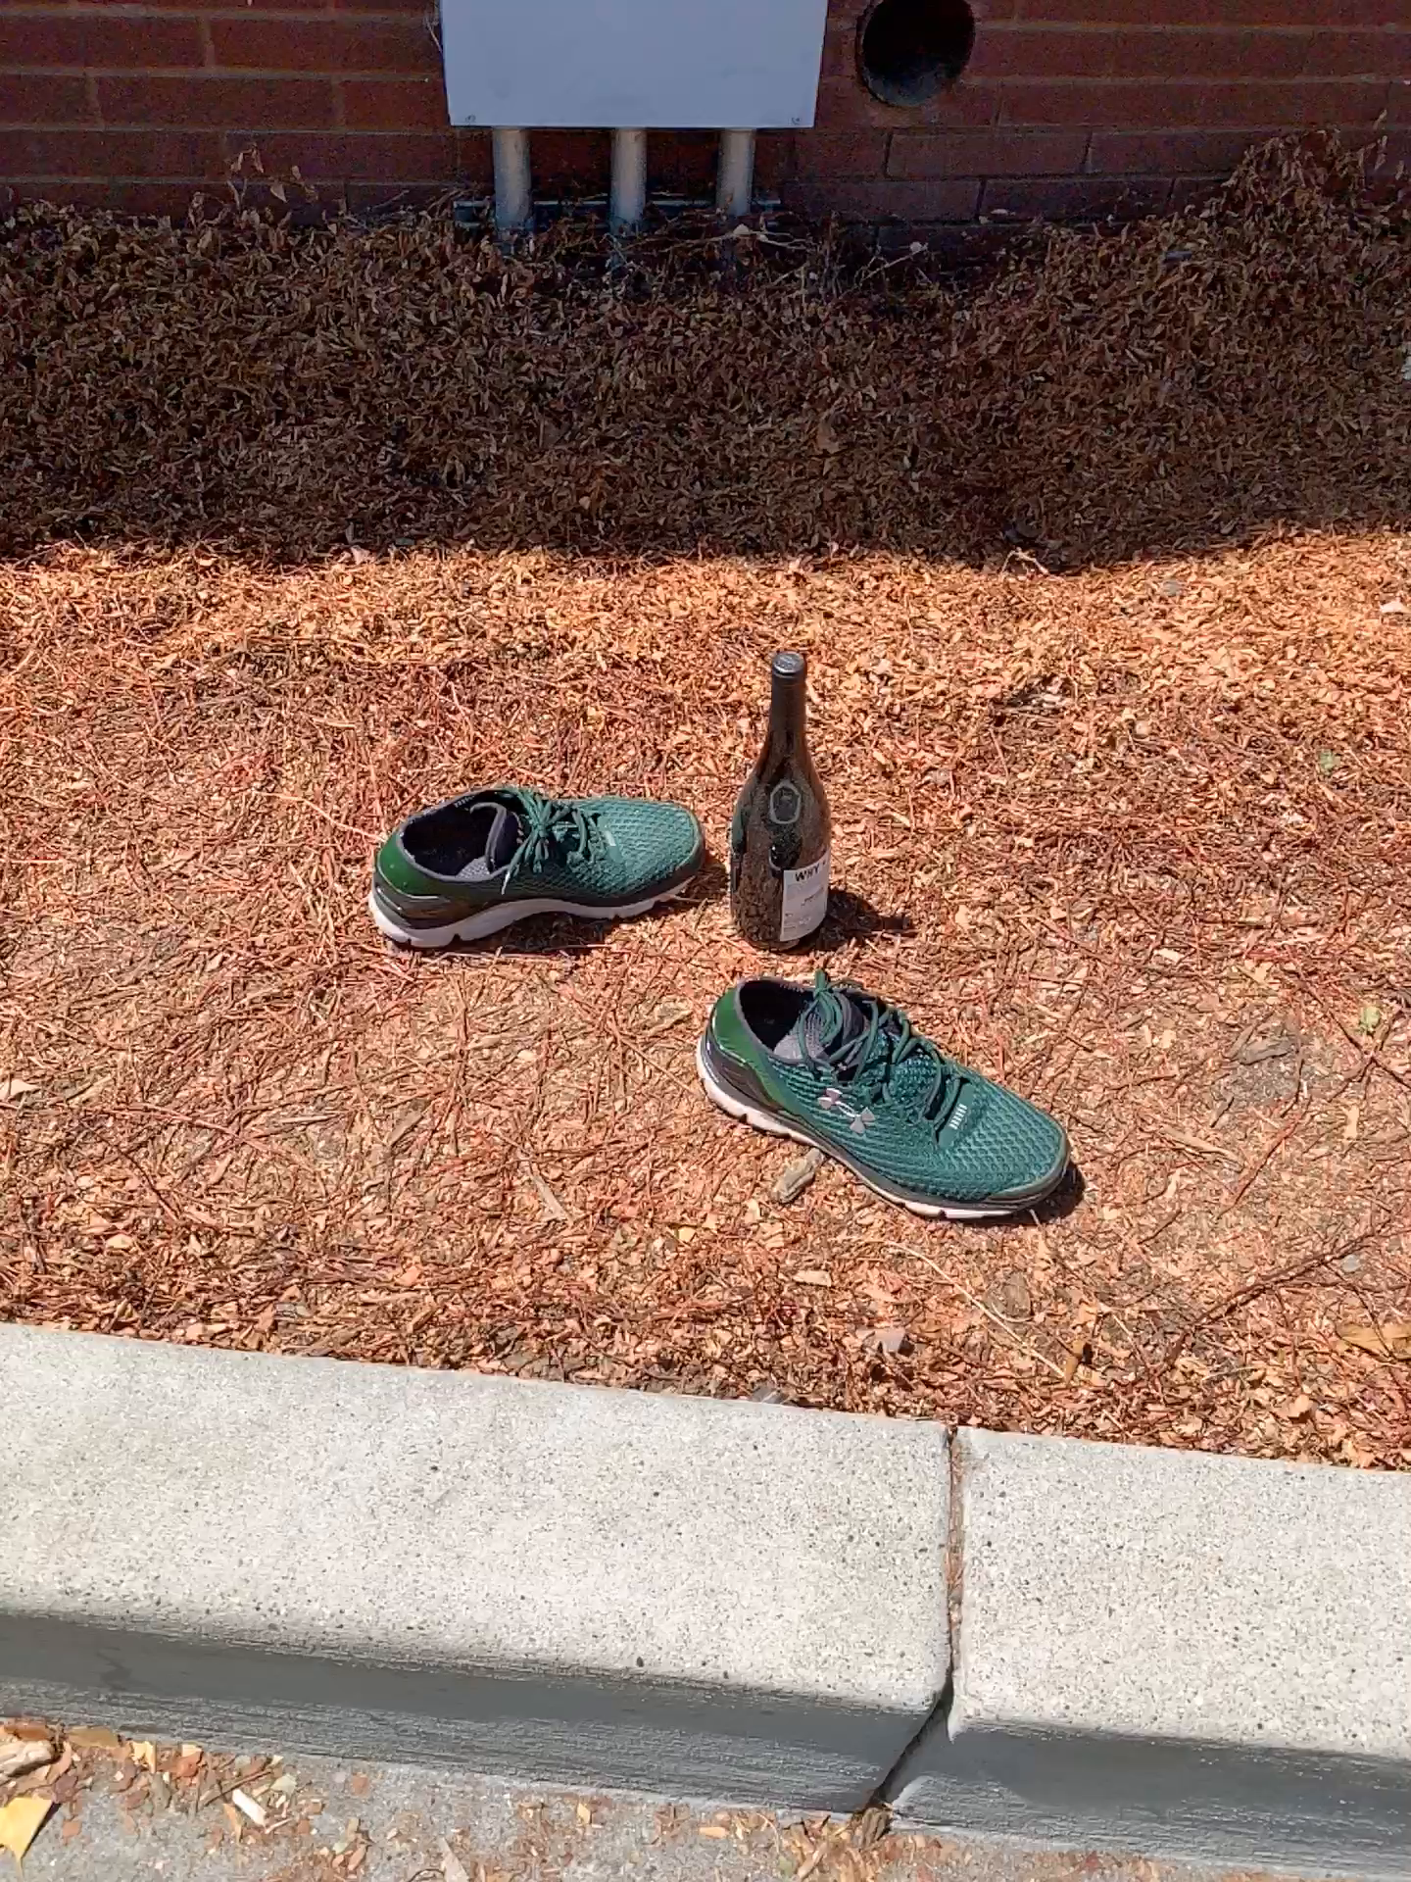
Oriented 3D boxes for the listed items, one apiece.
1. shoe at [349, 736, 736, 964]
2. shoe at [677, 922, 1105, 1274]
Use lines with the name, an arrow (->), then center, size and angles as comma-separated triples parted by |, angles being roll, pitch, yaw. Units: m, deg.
shoe -> -0.138, -0.079, 1.219 | 0.300, 0.099, 0.121 | -8, 51, -12
shoe -> 0.136, 0.116, 1.105 | 0.290, 0.099, 0.120 | 26, 52, 16
